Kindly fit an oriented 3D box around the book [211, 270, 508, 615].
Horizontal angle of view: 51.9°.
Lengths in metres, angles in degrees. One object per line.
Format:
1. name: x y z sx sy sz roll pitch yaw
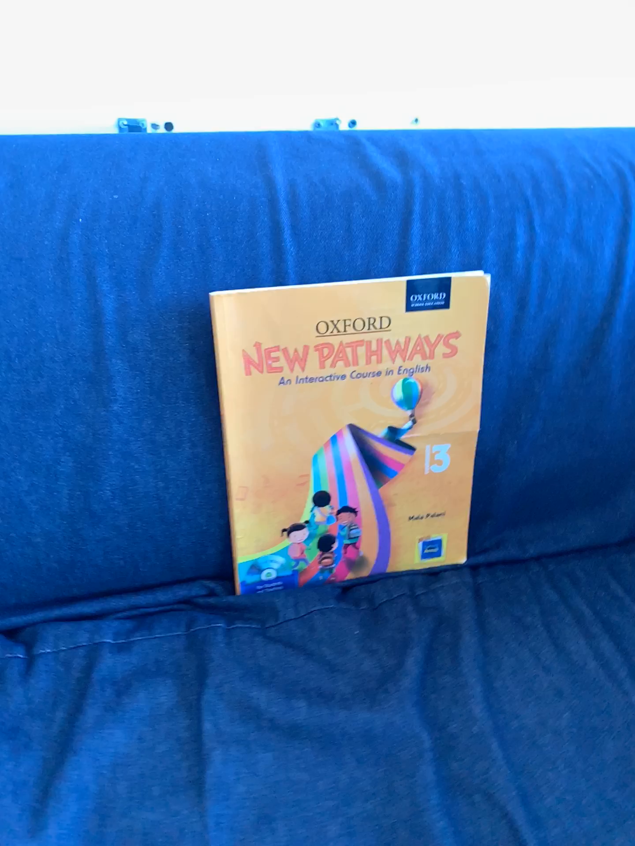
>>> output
1. book: 0.036 0.021 0.558 0.230 0.283 0.030 -6 23 -12
